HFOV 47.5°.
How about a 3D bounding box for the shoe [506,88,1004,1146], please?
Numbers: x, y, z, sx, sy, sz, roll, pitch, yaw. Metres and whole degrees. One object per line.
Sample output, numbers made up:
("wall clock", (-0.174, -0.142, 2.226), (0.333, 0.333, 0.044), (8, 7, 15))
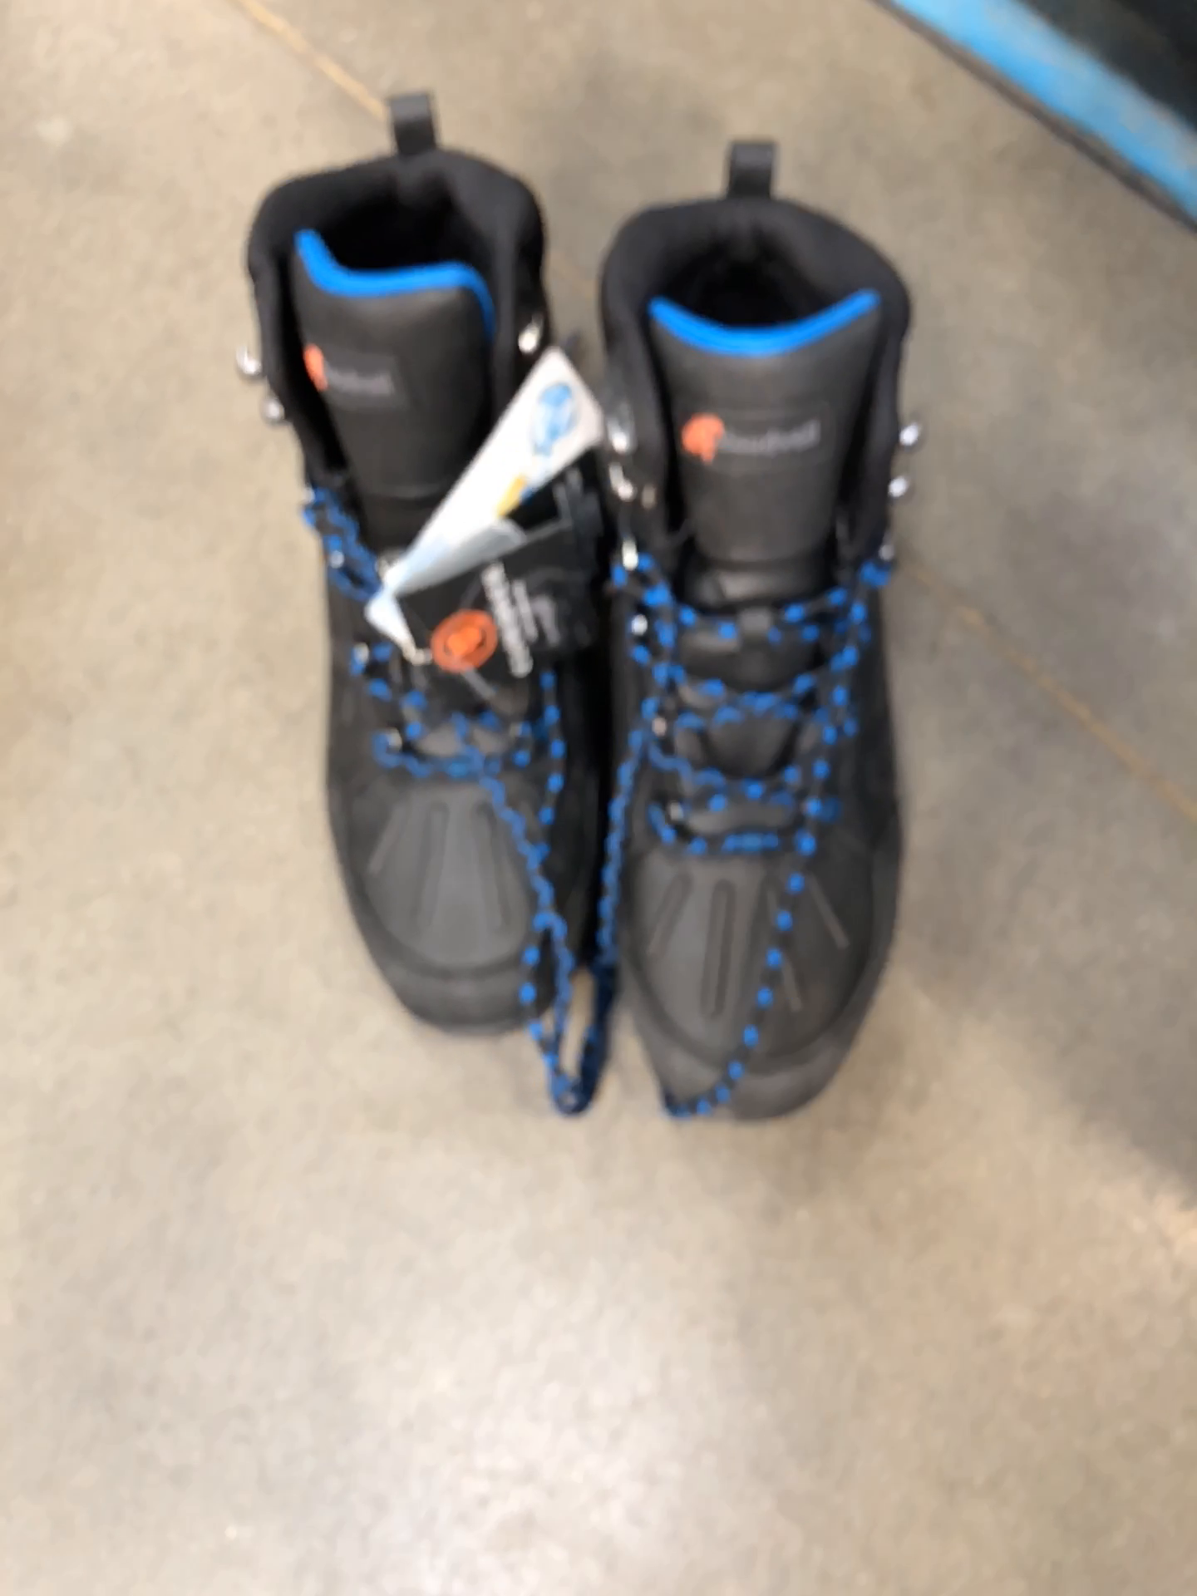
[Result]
("shoe", (0.054, -0.041, 0.470), (0.120, 0.210, 0.300), (2, 74, 5))

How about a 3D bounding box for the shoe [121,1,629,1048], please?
("shoe", (-0.062, -0.074, 0.490), (0.120, 0.210, 0.300), (-3, 74, 4))
